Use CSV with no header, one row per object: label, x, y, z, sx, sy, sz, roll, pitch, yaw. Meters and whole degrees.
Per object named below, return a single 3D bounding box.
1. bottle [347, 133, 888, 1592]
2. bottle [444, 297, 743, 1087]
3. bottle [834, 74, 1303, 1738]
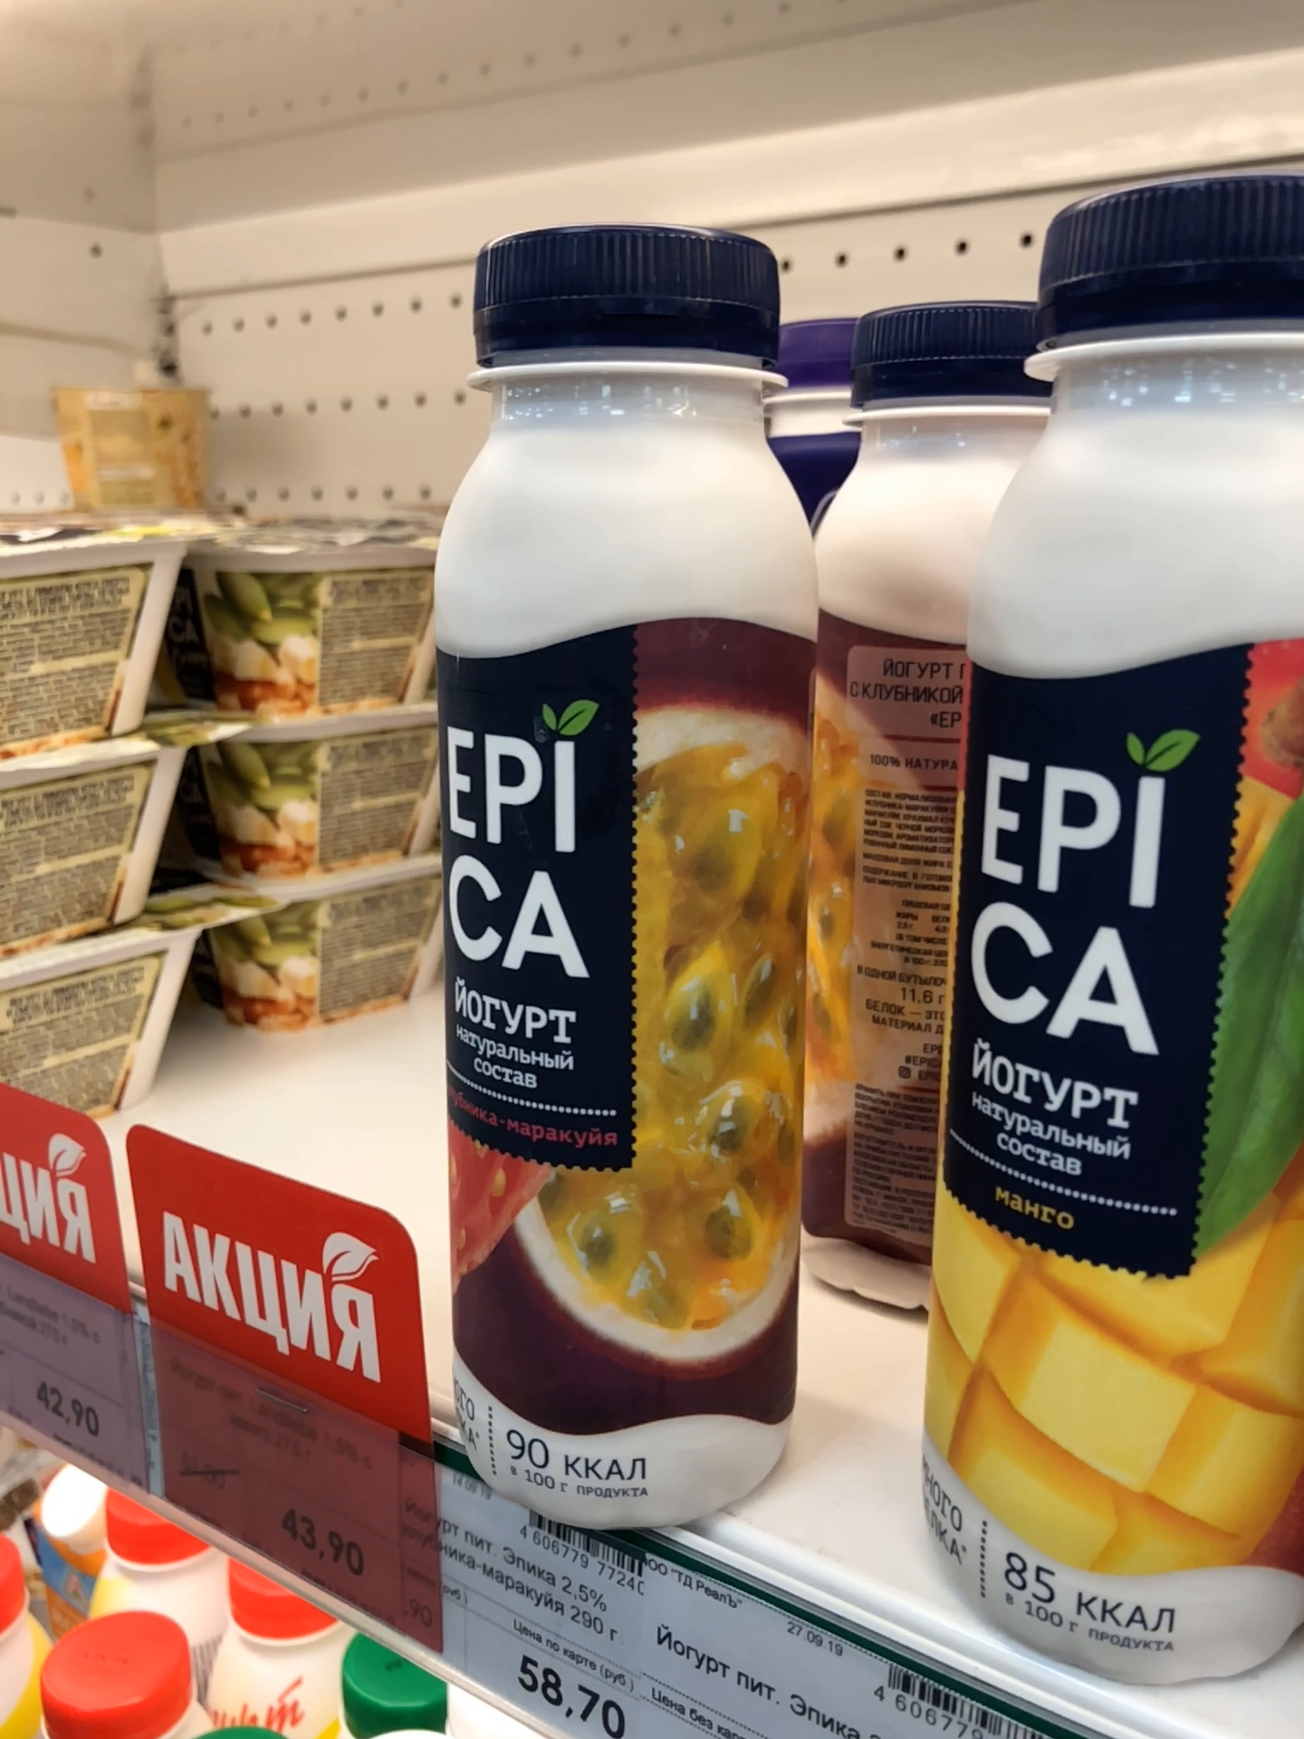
bottle,-0.002,0.001,0.209,0.050,0.180,0.050,-1,13,0
bottle,-0.012,-0.044,0.371,0.053,0.182,0.051,-1,13,0
bottle,0.061,0.008,0.183,0.053,0.177,0.051,-1,13,0
